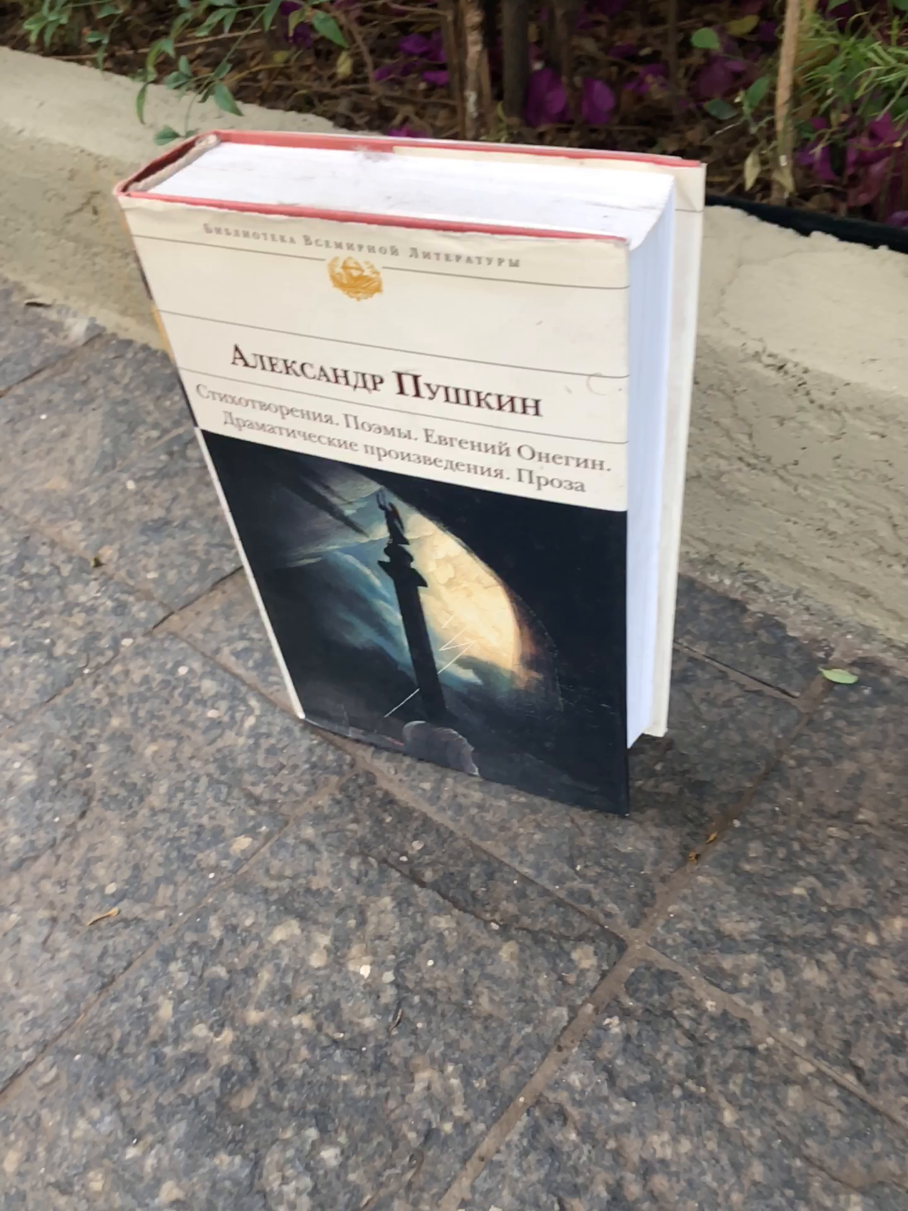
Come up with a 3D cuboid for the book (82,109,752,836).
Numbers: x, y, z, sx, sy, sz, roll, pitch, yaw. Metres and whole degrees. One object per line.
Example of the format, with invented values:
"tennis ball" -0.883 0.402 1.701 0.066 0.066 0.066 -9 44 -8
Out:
"book" -0.004 -0.030 0.306 0.150 0.203 0.050 13 47 19
